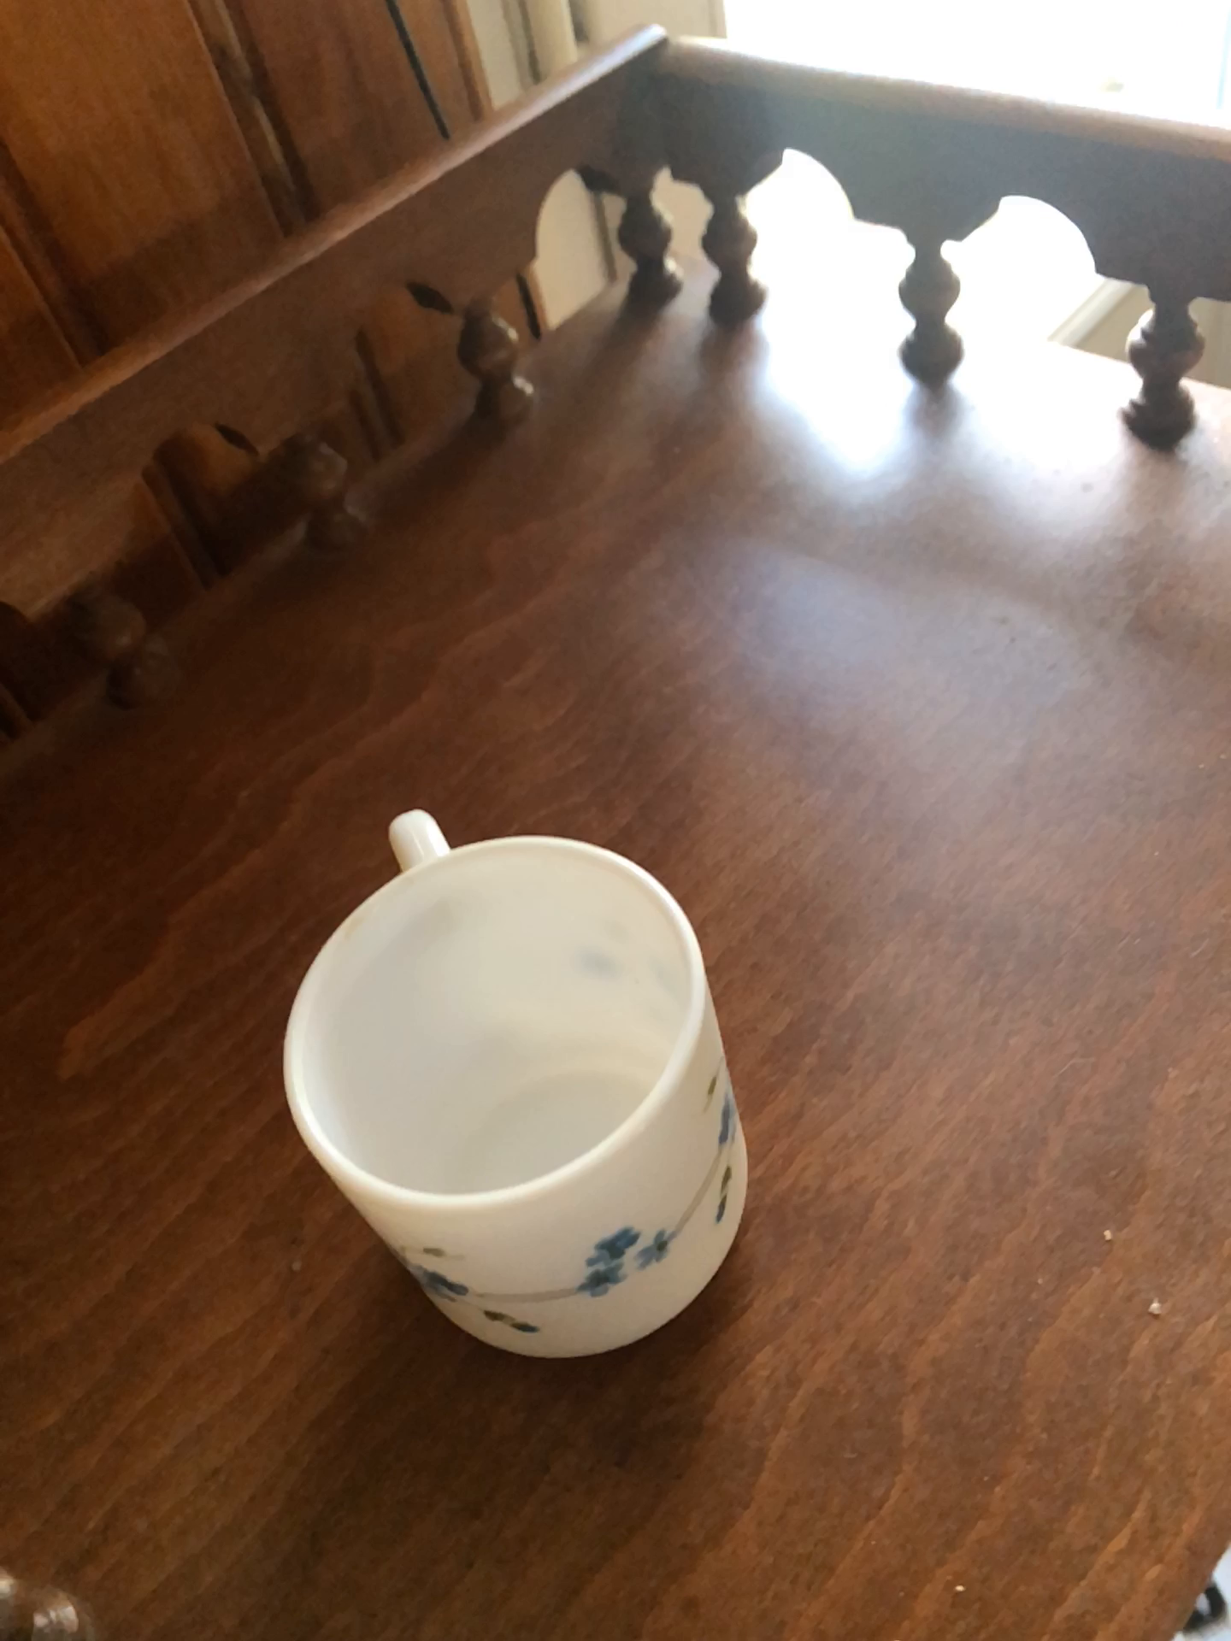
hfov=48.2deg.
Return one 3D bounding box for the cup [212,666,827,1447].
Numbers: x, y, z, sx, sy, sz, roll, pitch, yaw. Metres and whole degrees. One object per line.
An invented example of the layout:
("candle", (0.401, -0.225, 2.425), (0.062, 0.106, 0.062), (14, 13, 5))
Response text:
("cup", (-0.015, 0.033, 0.205), (0.060, 0.060, 0.080), (-21, 49, -4))
